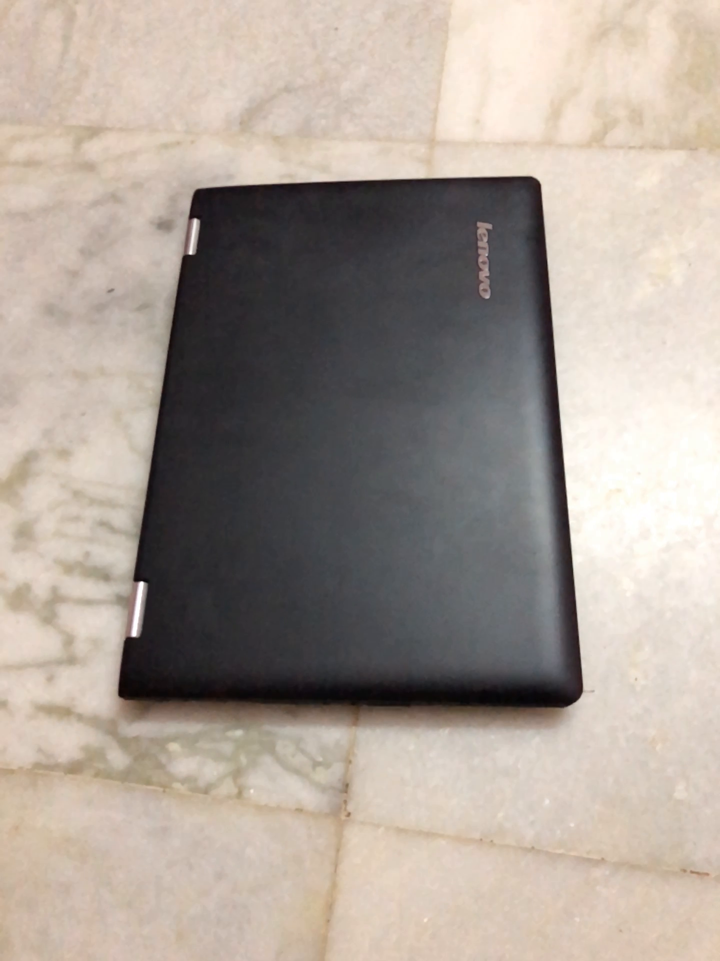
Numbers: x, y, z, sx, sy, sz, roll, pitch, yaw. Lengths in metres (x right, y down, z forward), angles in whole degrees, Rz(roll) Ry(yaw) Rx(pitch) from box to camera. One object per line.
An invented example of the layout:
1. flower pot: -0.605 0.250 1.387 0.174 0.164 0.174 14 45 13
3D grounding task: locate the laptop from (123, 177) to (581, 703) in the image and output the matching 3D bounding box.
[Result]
1. laptop: -0.001 -0.044 0.455 0.222 0.002 0.329 0 66 5
